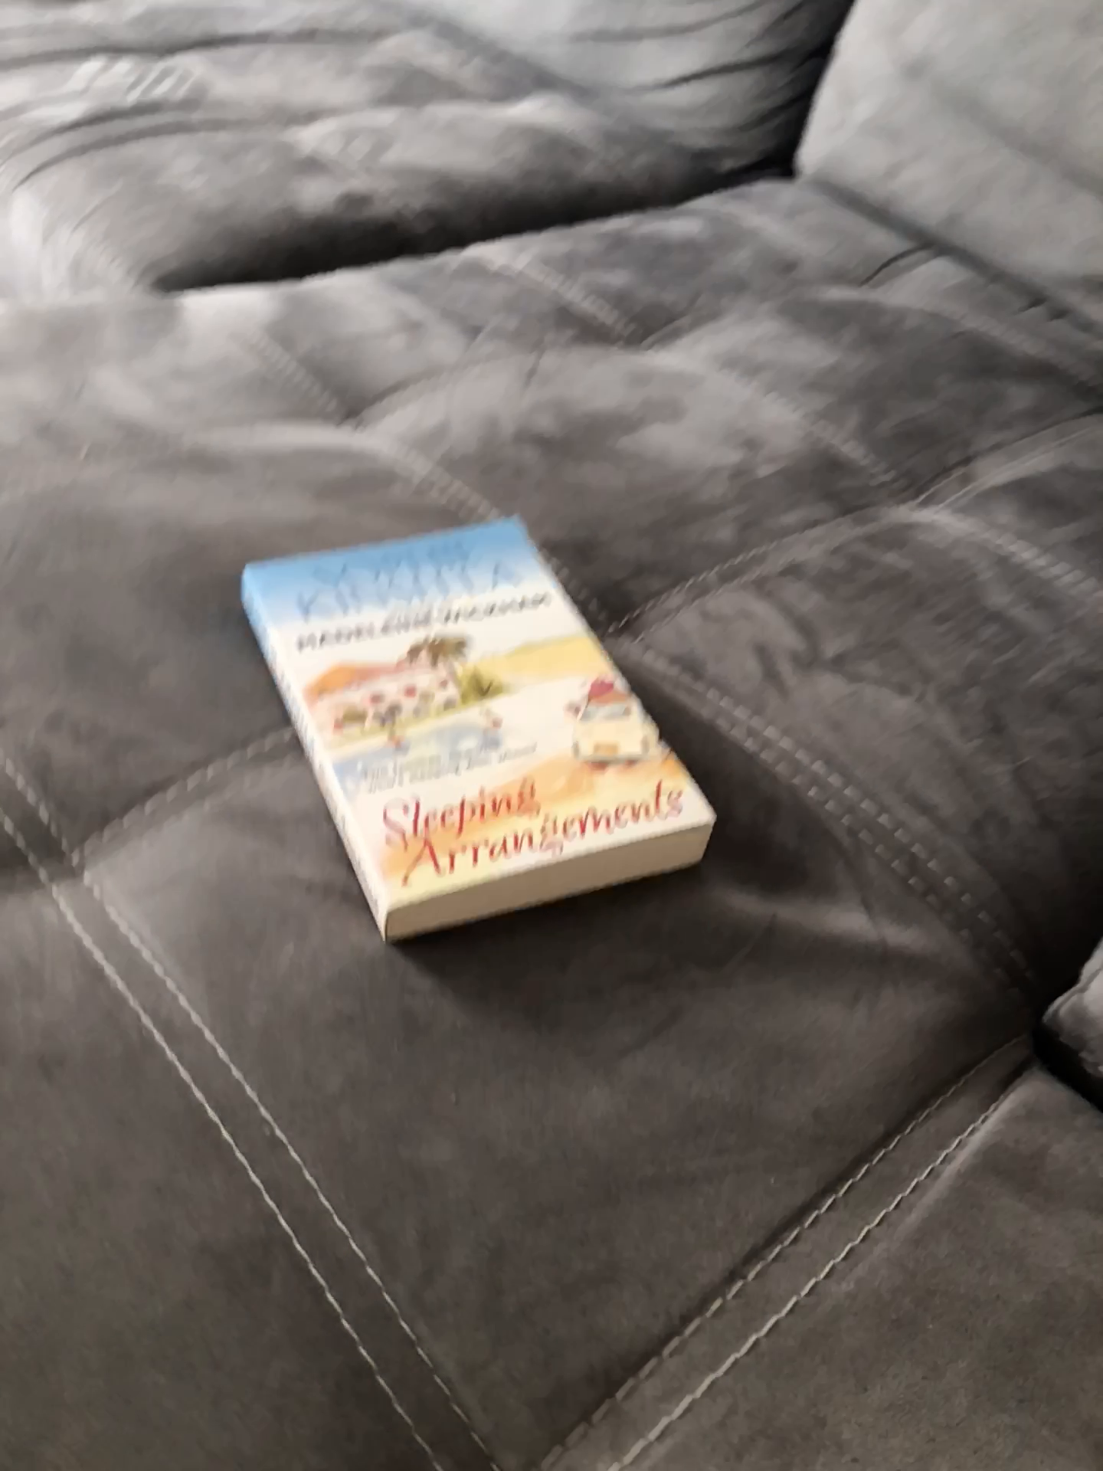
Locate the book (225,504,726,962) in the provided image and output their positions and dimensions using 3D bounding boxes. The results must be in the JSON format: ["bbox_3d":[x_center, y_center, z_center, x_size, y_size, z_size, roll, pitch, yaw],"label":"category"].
[{"bbox_3d":[-0.039,-0.016,0.477,0.130,0.030,0.201,-12,47,-22],"label":"book"}]
